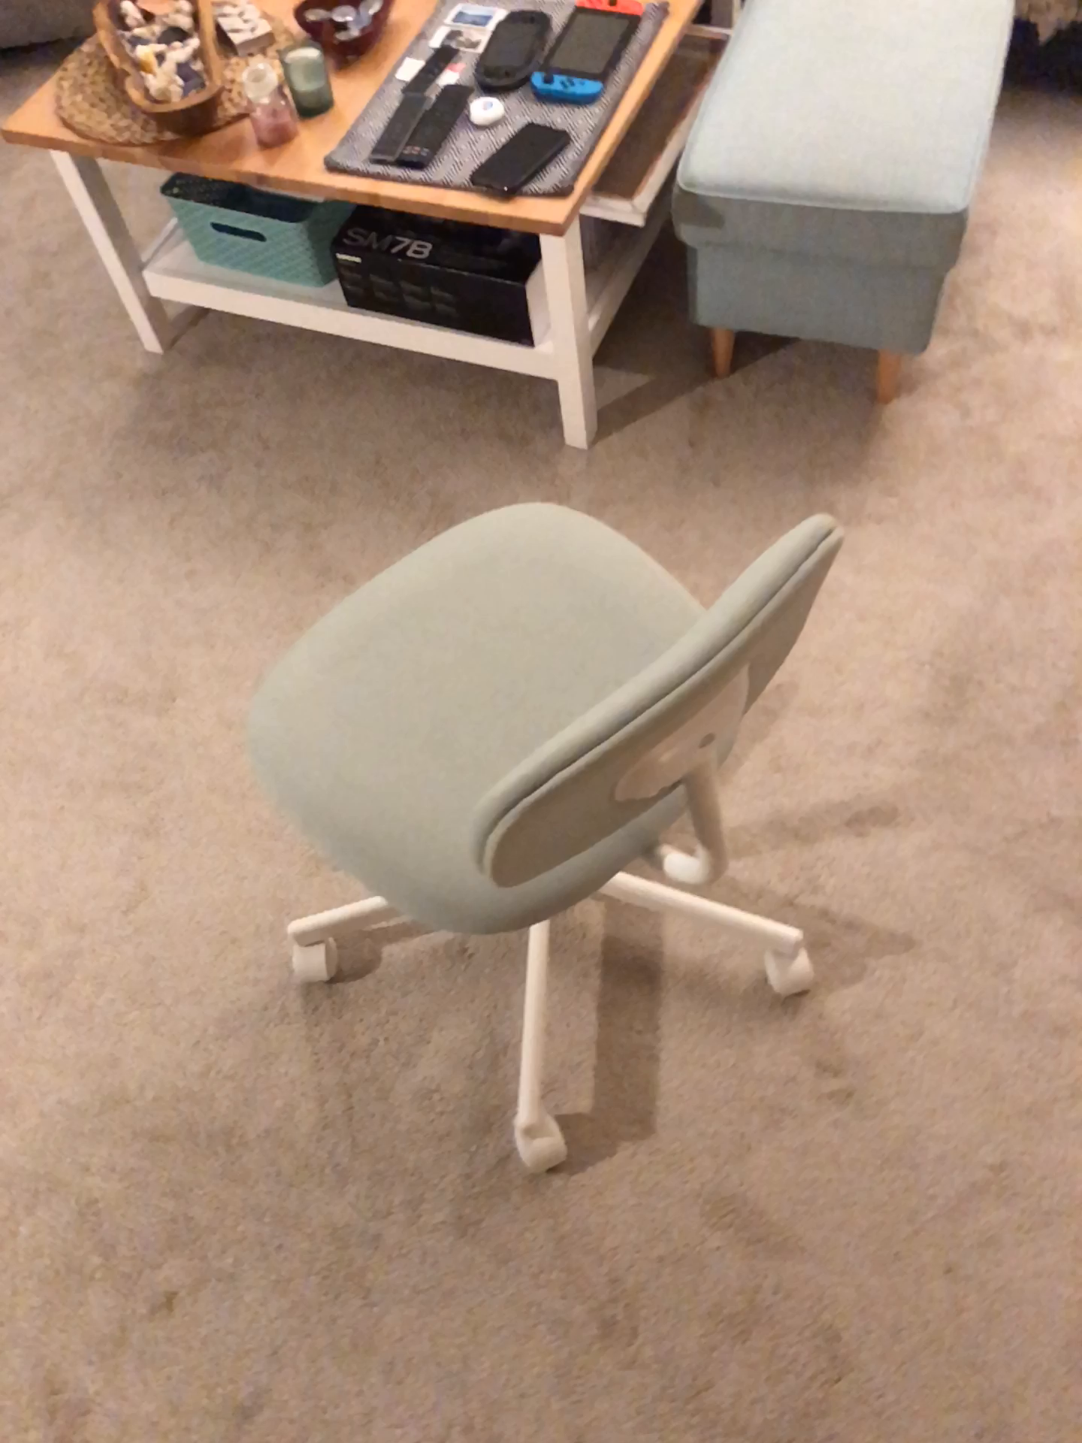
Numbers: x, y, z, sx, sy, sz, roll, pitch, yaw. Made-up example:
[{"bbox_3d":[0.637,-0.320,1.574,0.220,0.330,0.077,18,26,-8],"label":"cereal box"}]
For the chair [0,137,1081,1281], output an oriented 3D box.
[{"bbox_3d":[-0.020,0.006,1.179,0.661,0.677,0.641,-36,60,-16],"label":"chair"}]
